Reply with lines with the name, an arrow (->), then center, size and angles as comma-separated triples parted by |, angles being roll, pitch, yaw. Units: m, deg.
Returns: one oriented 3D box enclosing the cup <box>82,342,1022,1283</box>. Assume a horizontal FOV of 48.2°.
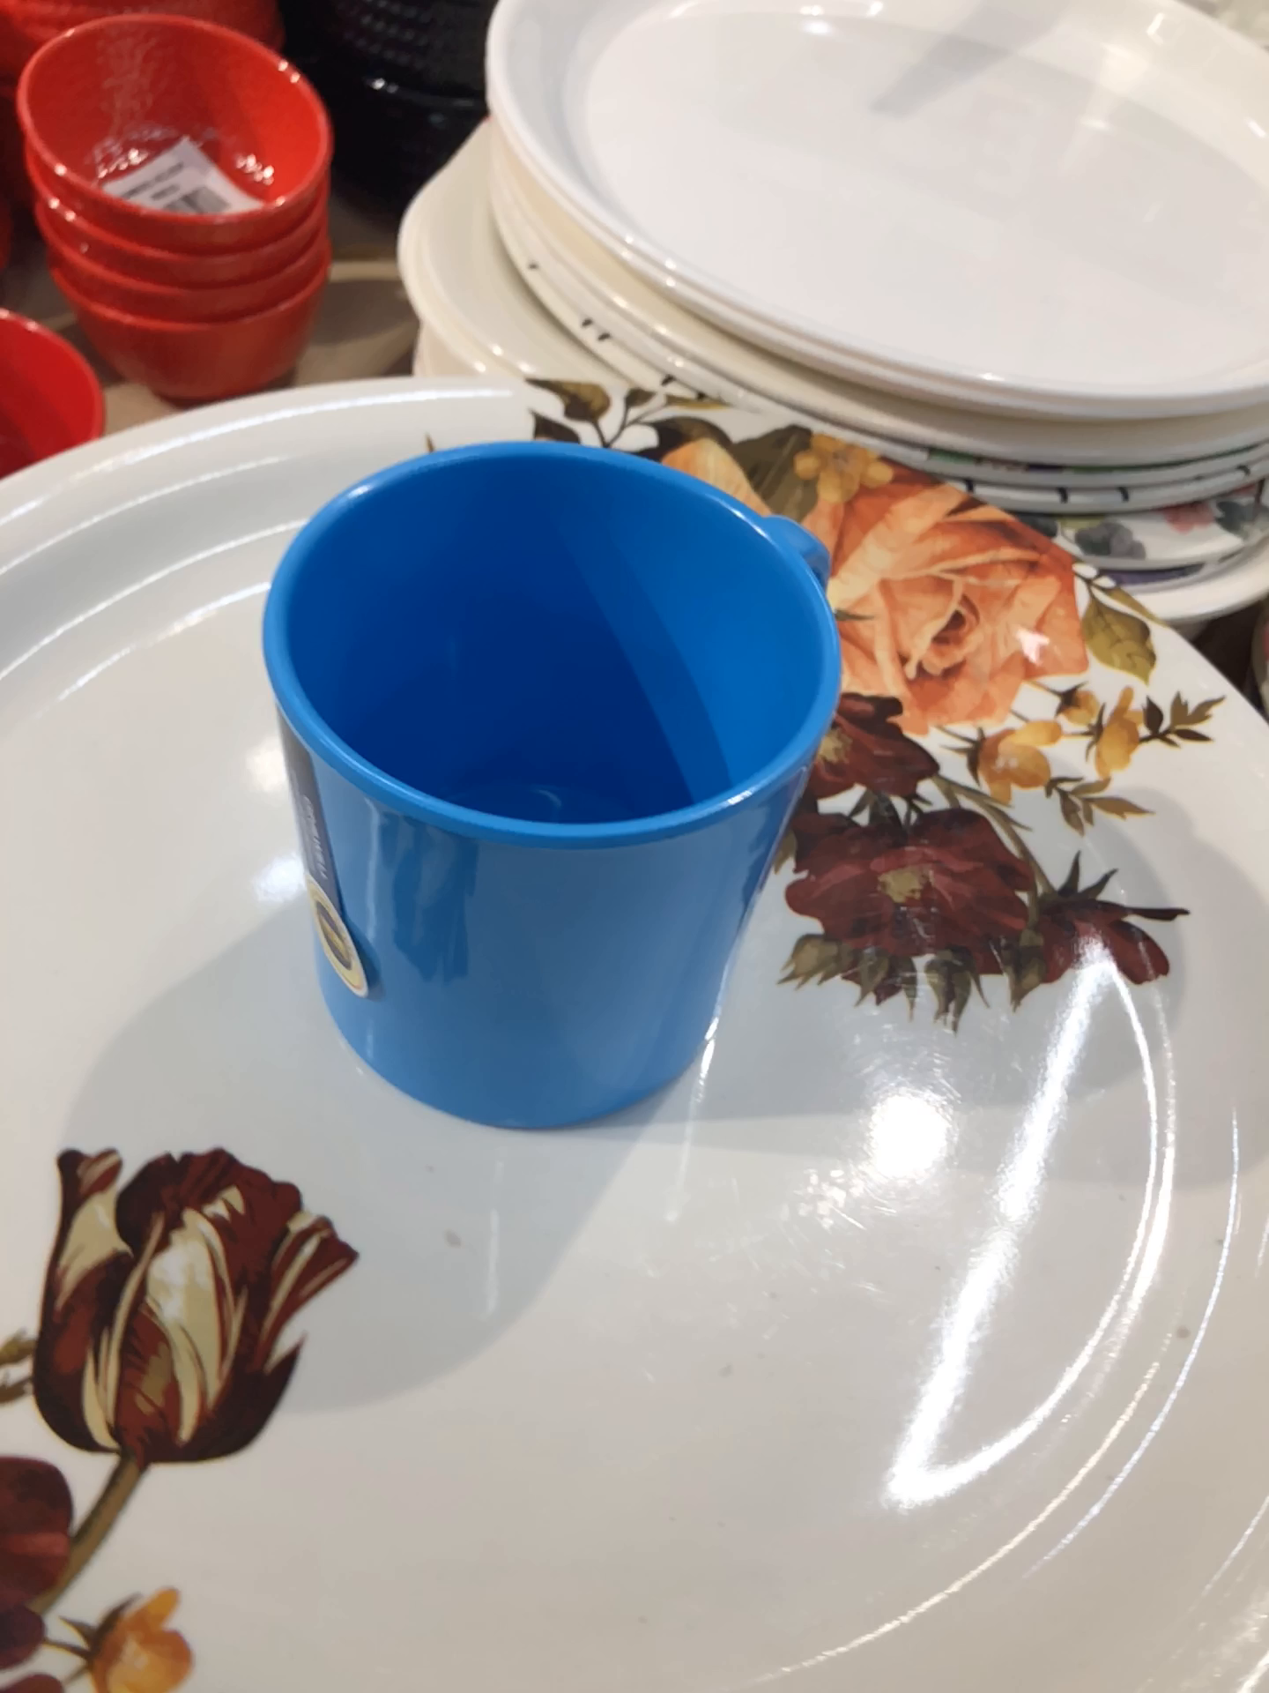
cup -> -0.013, -0.008, 0.240 | 0.111, 0.089, 0.080 | -35, 65, -29
